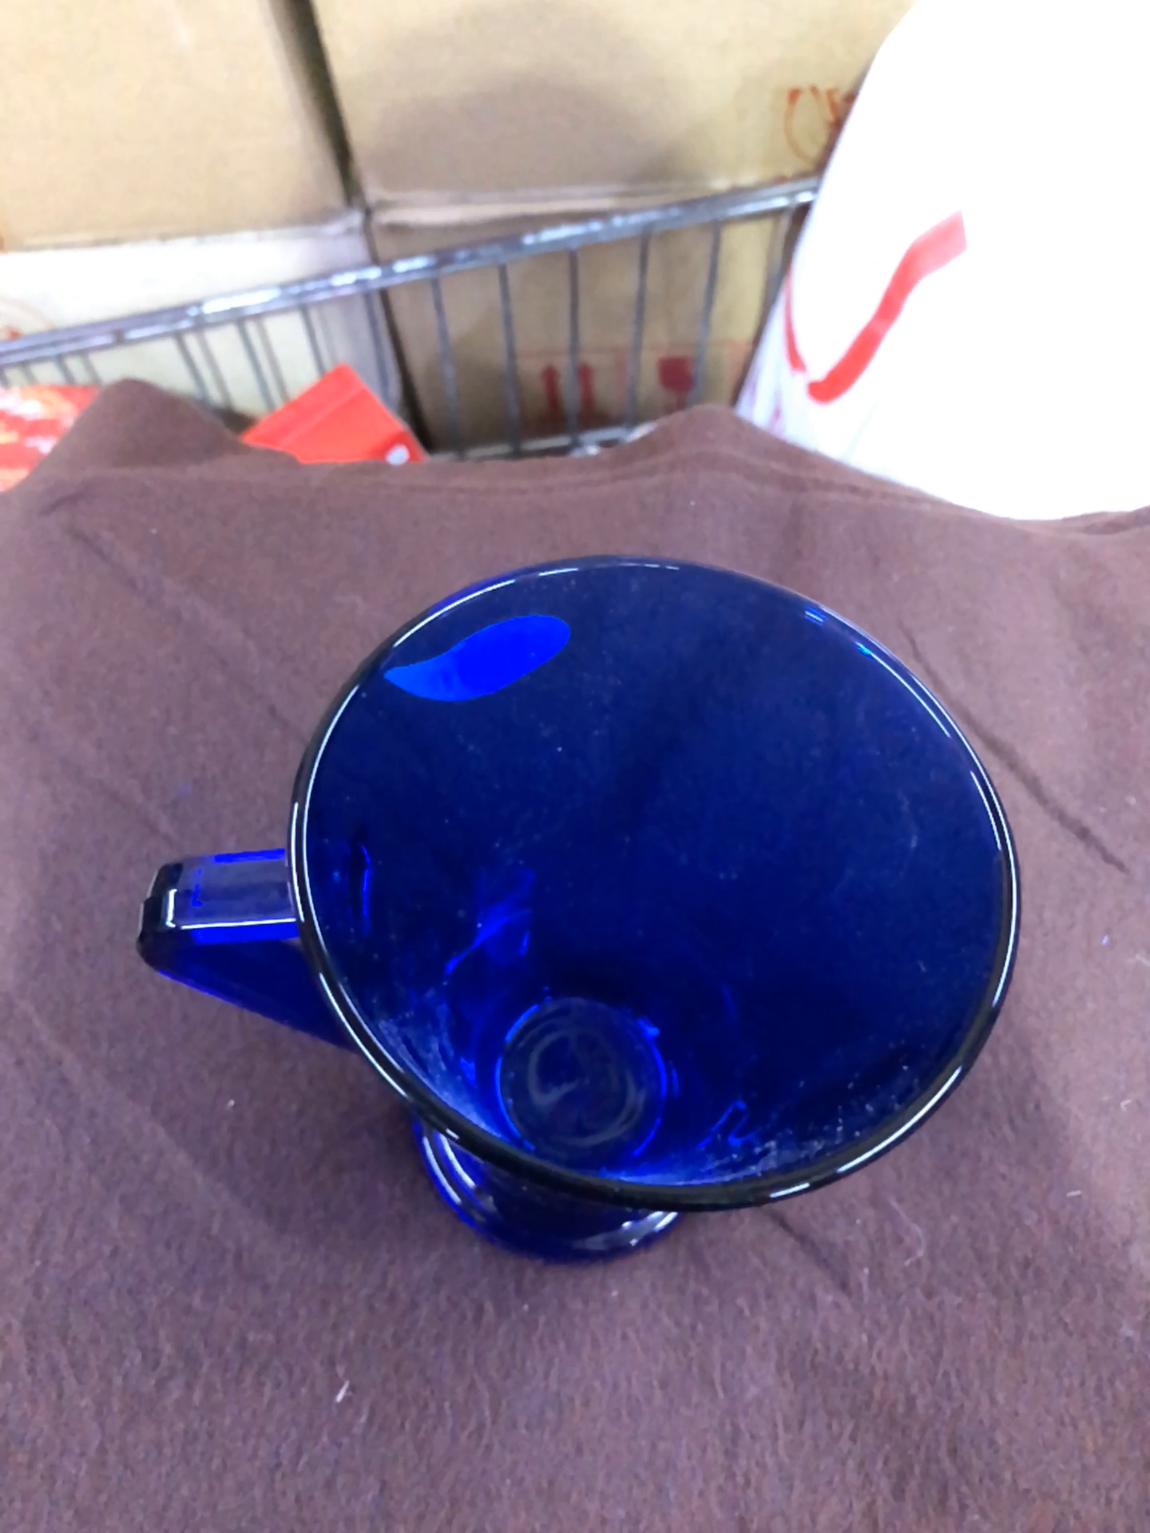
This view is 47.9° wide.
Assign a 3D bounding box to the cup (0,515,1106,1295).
[{"bbox_3d":[-0.004,0.031,0.187,0.110,0.110,0.070,7,67,-1],"label":"cup"}]
